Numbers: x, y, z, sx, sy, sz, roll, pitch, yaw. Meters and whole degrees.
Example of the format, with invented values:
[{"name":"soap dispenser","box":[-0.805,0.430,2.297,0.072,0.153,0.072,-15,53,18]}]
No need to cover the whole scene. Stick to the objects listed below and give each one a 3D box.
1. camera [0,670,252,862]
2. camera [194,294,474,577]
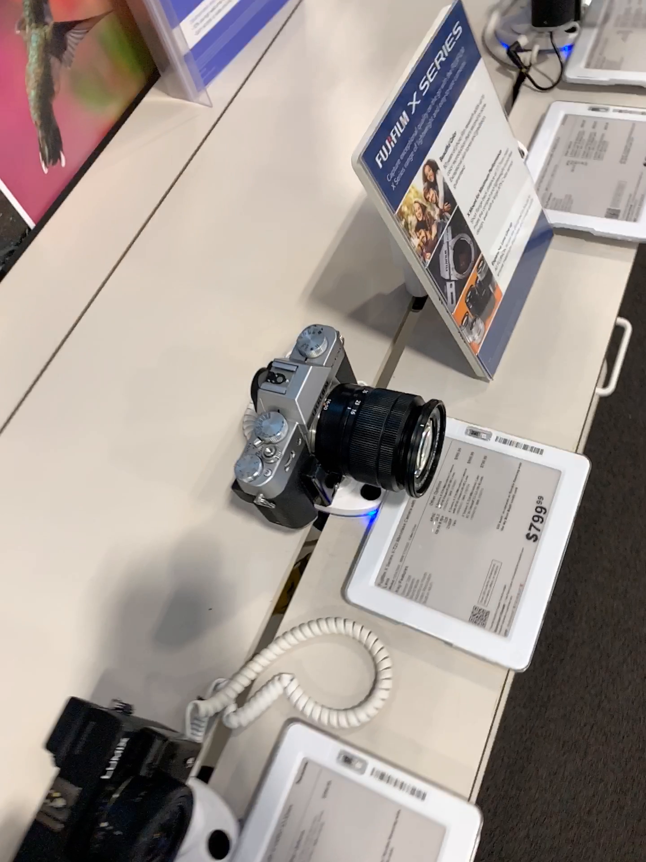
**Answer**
[{"name":"camera","box":[-0.103,0.196,0.327,0.070,0.080,0.120,16,67,20]},{"name":"camera","box":[0.014,0.001,0.400,0.120,0.080,0.120,16,66,20]}]
